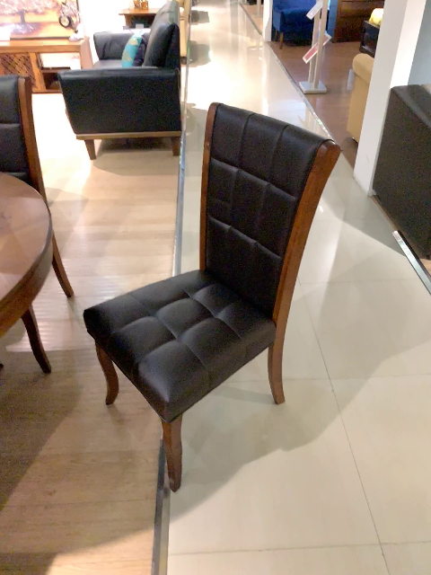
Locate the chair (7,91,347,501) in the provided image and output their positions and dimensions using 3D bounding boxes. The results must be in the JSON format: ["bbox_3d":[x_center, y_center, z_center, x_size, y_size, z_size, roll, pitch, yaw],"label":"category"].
[{"bbox_3d":[-0.085,0.015,1.326,0.601,0.936,0.531,-28,45,-30],"label":"chair"}]
